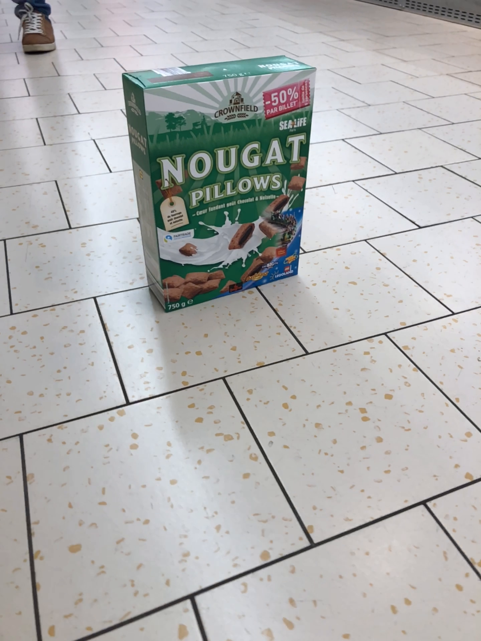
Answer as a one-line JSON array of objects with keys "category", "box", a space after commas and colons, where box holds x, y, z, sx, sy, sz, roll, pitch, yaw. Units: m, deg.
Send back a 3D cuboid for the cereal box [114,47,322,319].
[{"category": "cereal box", "box": [-0.021, -0.156, 0.616, 0.201, 0.268, 0.070, -18, 40, -23]}]
